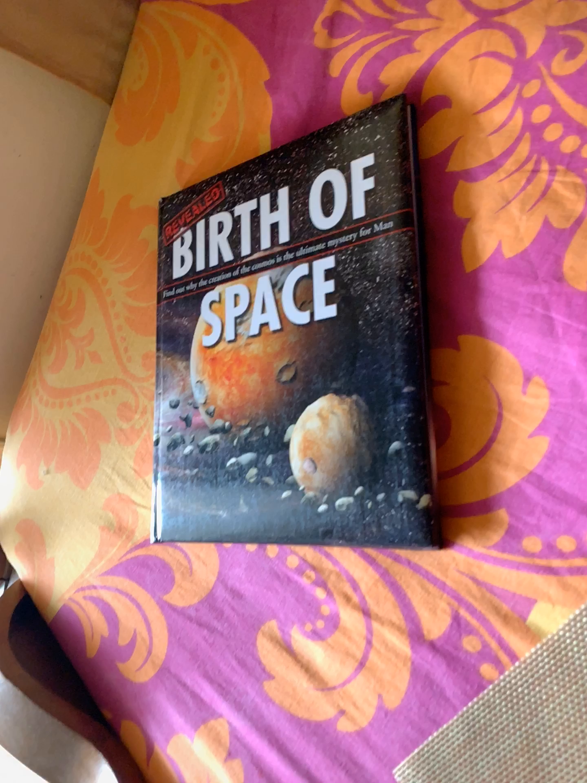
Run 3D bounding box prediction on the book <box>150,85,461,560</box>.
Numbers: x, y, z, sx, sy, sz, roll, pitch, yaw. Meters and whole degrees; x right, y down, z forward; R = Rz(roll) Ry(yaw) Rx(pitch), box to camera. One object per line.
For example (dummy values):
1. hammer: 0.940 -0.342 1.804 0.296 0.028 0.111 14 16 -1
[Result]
1. book: -0.009 -0.031 0.382 0.212 0.020 0.258 -9 77 35
